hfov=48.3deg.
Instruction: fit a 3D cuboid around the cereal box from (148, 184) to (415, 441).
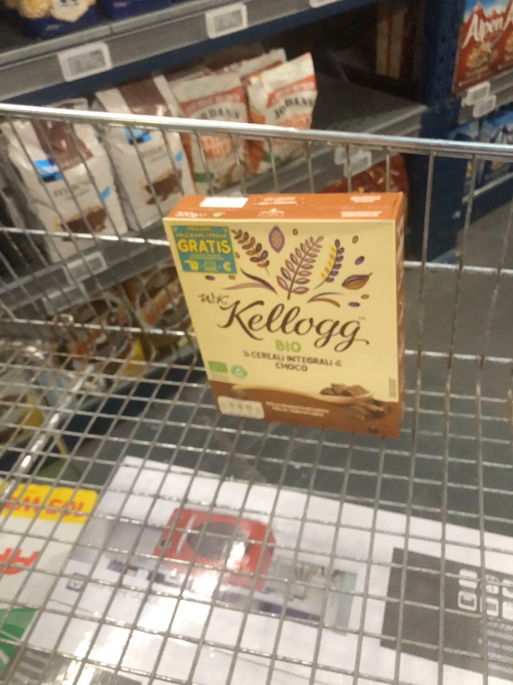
[{"bbox_3d":[0.034,-0.022,0.509,0.200,0.219,0.060,4,40,20],"label":"cereal box"}]
